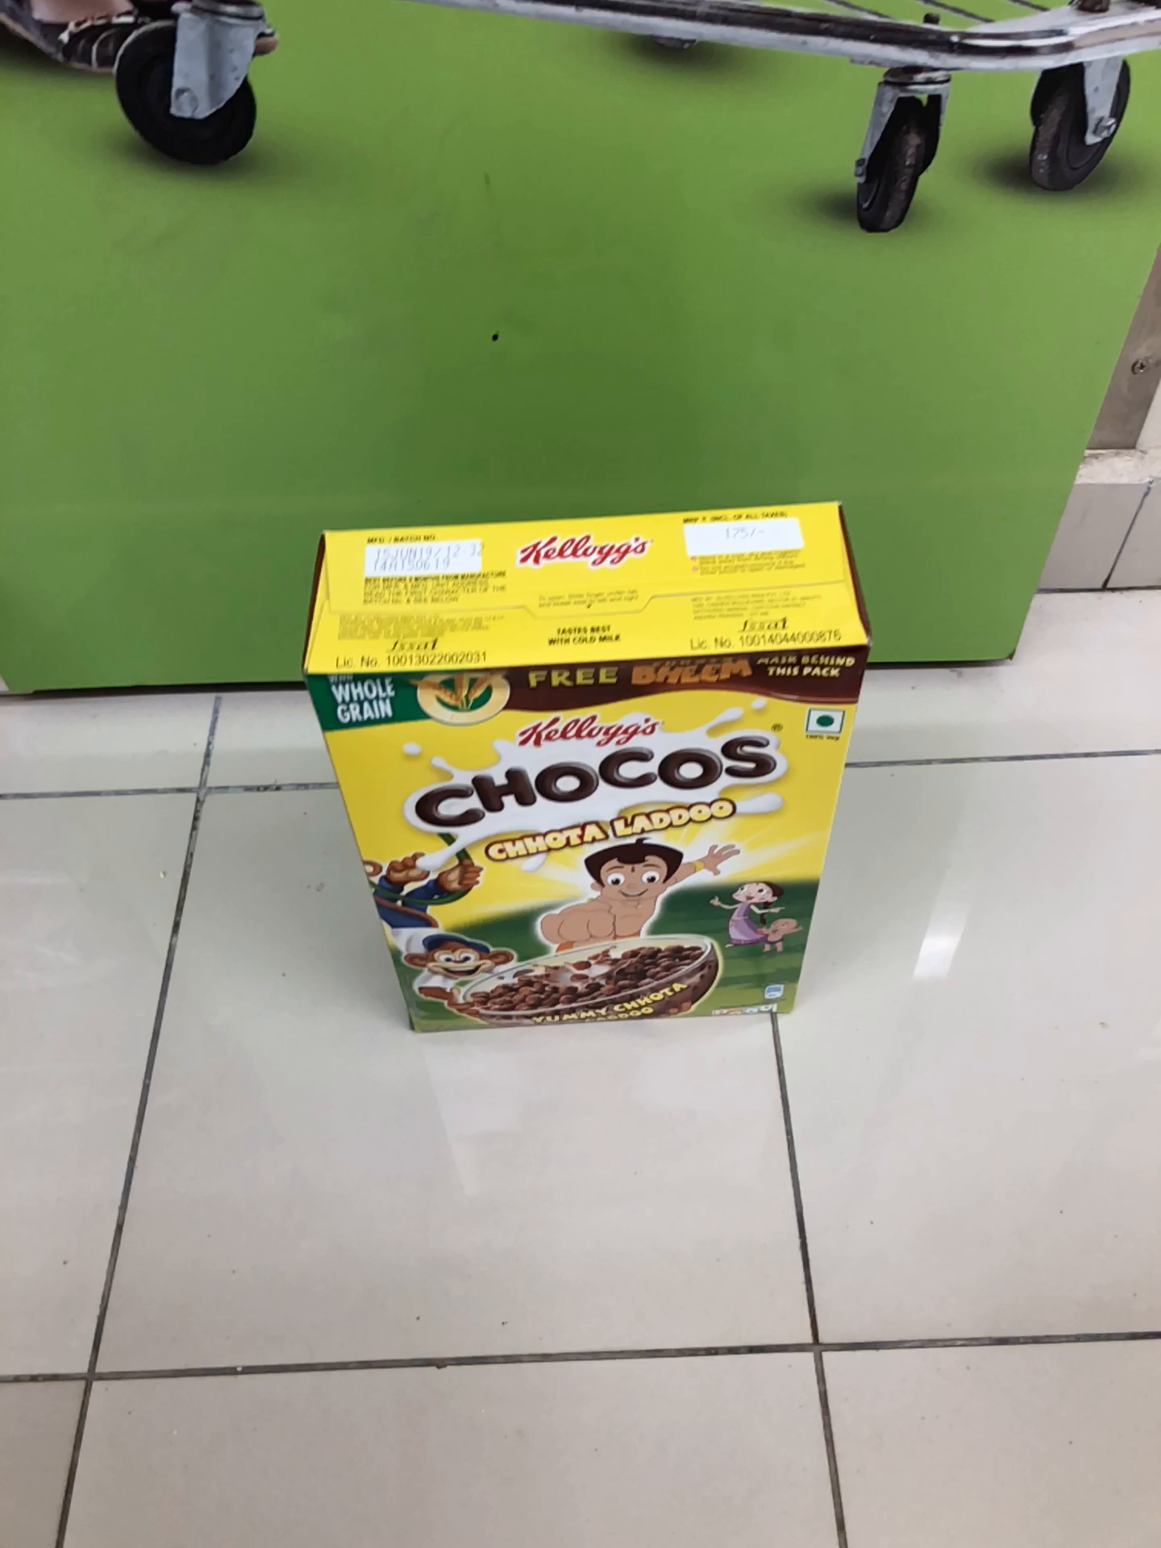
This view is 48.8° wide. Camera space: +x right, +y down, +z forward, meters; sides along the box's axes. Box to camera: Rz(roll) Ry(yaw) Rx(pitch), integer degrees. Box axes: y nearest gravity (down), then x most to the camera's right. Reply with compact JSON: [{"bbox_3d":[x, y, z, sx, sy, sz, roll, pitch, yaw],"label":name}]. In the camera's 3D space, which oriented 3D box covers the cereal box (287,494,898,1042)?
[{"bbox_3d":[0.005,0.015,0.522,0.190,0.259,0.070,-3,52,-1],"label":"cereal box"}]
